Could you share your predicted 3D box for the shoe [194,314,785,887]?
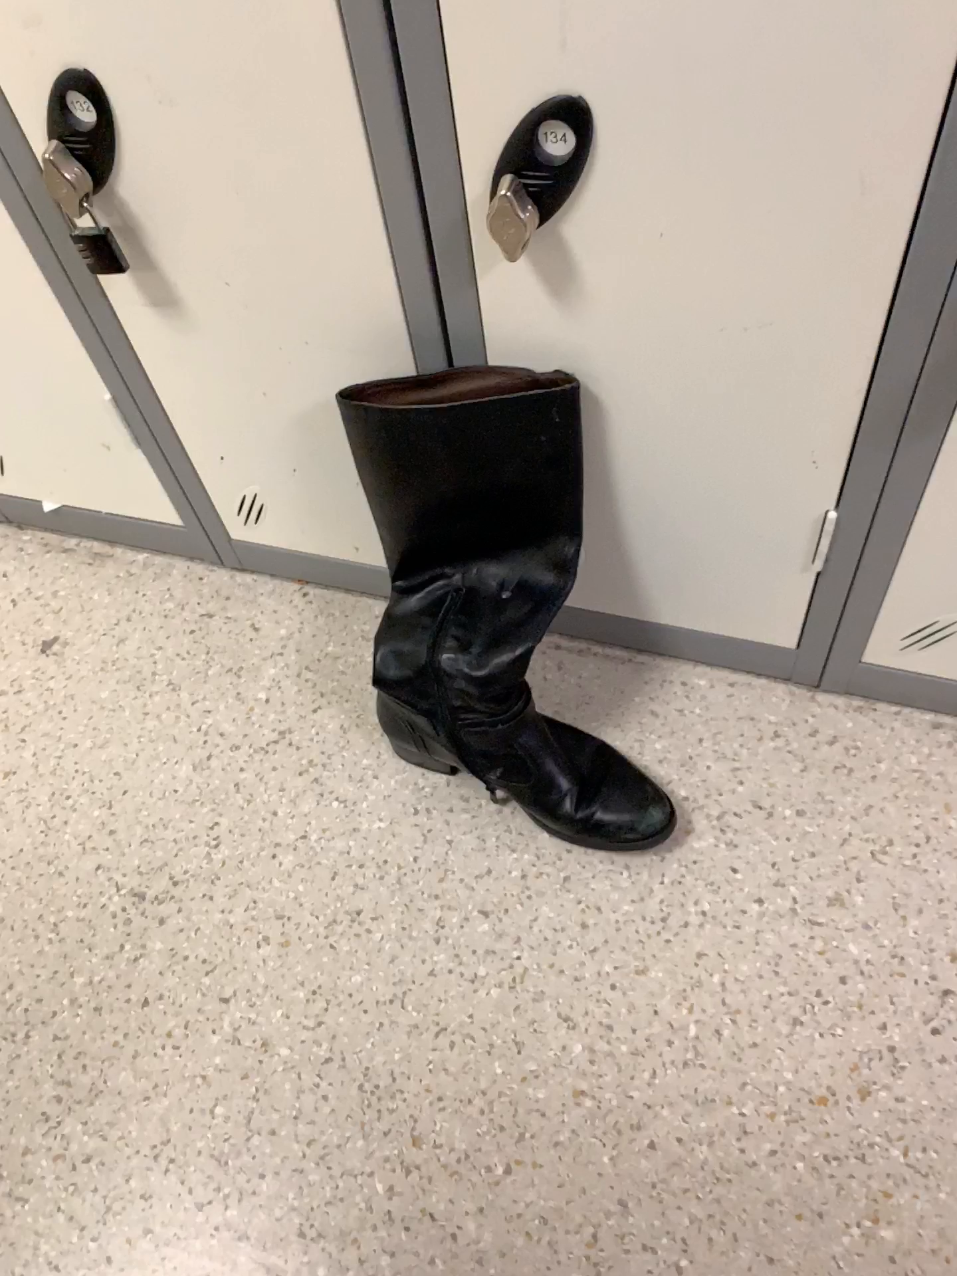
[{"bbox_3d":[0.020,-0.017,0.719,0.314,0.331,0.168,19,59,21],"label":"shoe"}]
